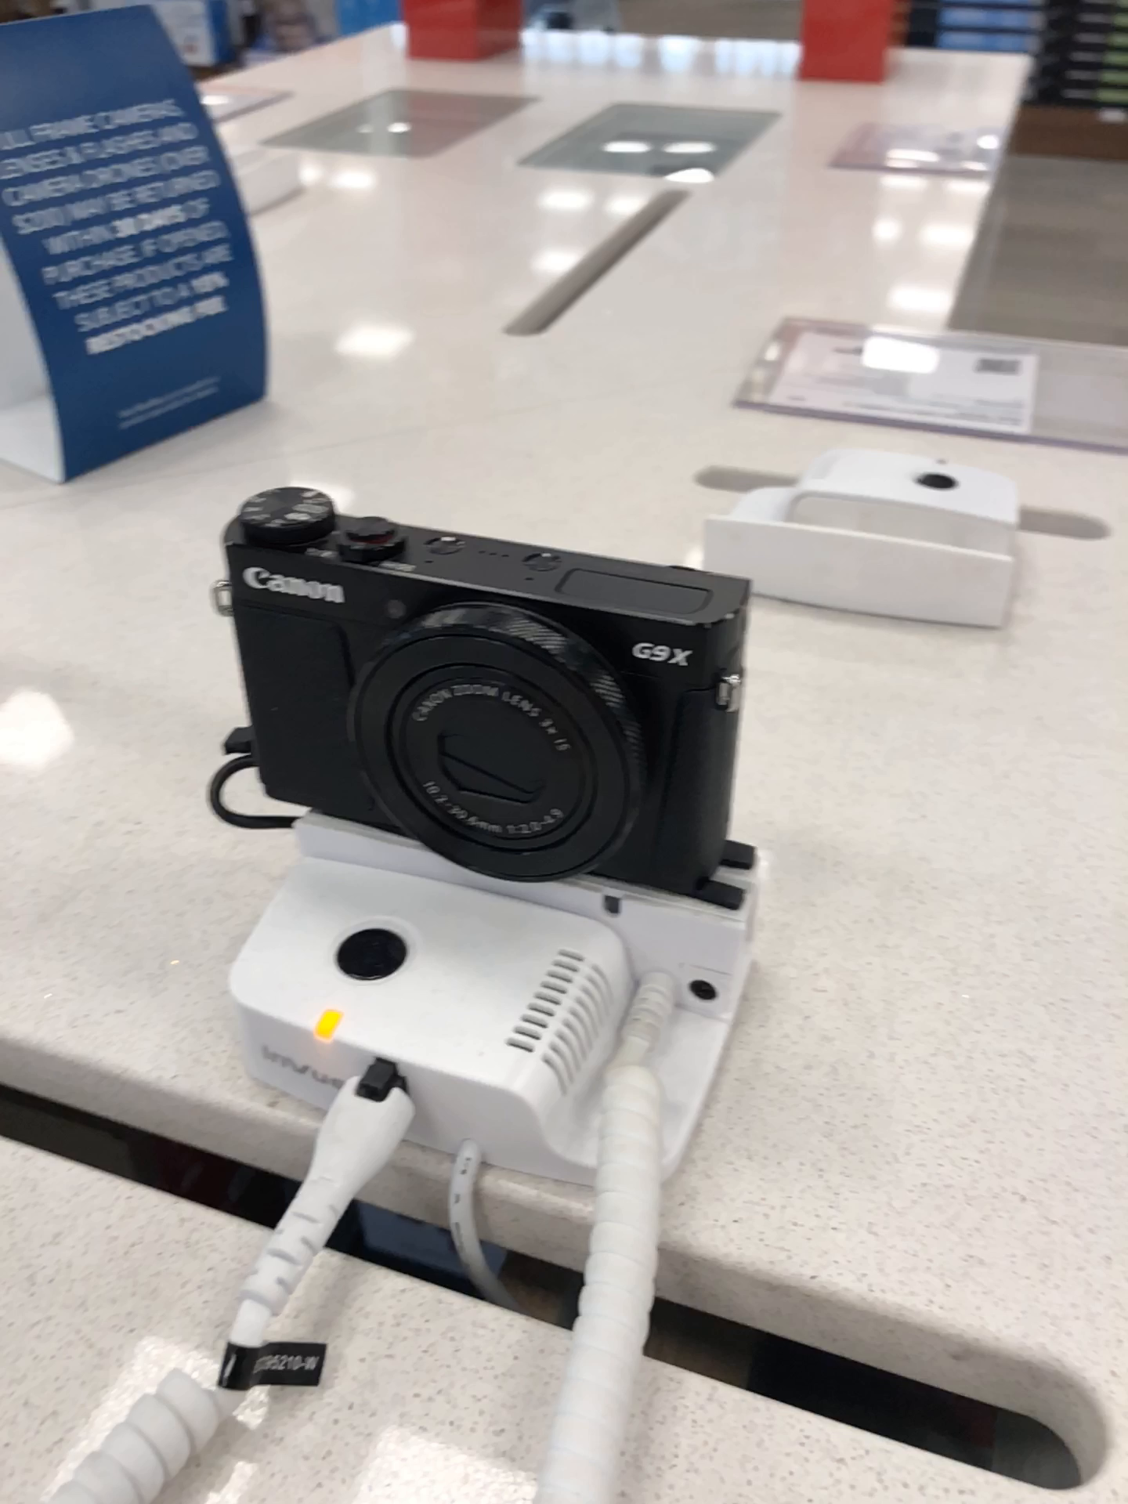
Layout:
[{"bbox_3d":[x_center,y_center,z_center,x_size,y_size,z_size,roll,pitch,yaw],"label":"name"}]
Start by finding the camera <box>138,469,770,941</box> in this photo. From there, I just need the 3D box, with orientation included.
[{"bbox_3d":[-0.019,-0.010,0.225,0.100,0.060,0.030,12,38,16],"label":"camera"}]
